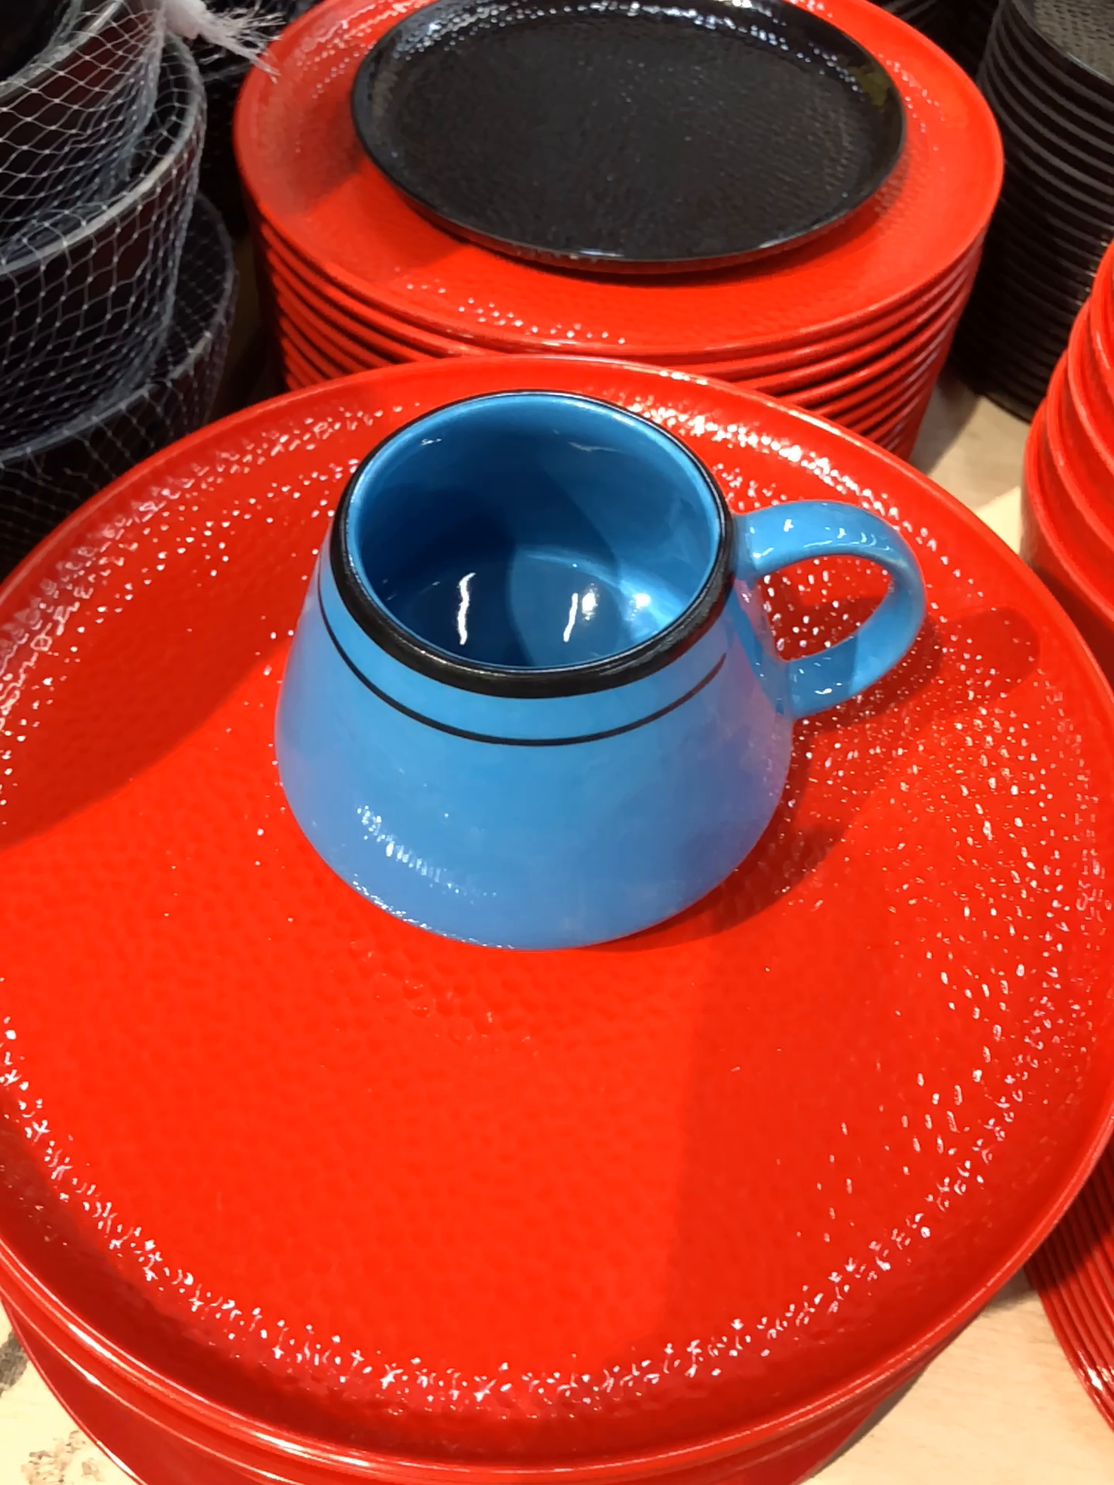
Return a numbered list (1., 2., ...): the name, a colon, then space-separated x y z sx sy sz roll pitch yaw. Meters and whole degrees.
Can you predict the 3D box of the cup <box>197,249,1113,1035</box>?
1. cup: 0.009 -0.023 0.255 0.140 0.090 0.111 -9 54 -8
